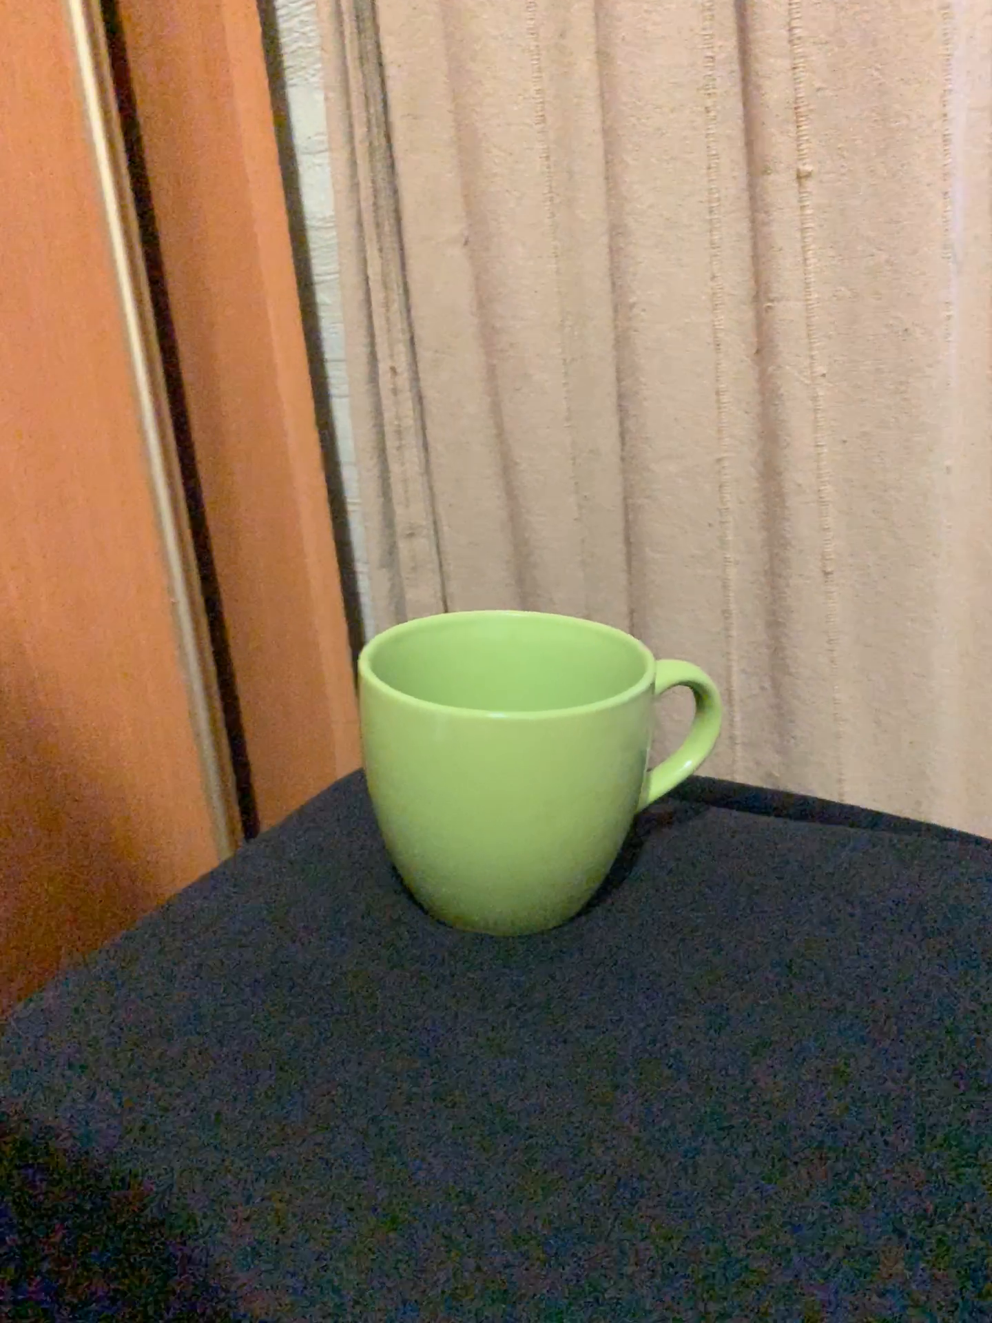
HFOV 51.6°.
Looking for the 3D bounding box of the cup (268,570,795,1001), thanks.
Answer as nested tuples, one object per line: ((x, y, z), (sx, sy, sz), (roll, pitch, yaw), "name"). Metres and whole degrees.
((0.007, 0.027, 0.307), (0.125, 0.069, 0.090), (-11, 24, -22), "cup")
